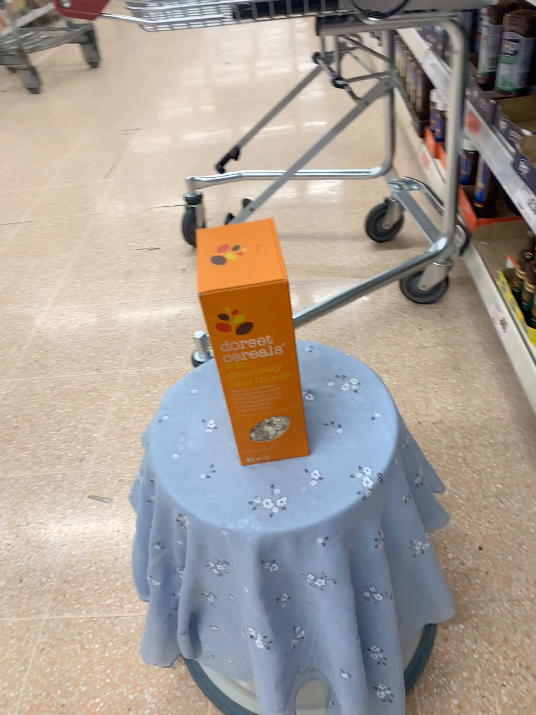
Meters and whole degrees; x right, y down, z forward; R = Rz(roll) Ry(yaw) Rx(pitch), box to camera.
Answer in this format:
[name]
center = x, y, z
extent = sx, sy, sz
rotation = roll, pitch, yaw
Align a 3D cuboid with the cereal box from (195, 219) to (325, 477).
[cereal box]
center = -0.004, -0.003, 0.561
extent = 0.090, 0.228, 0.121
rotation = -10, 41, -1
